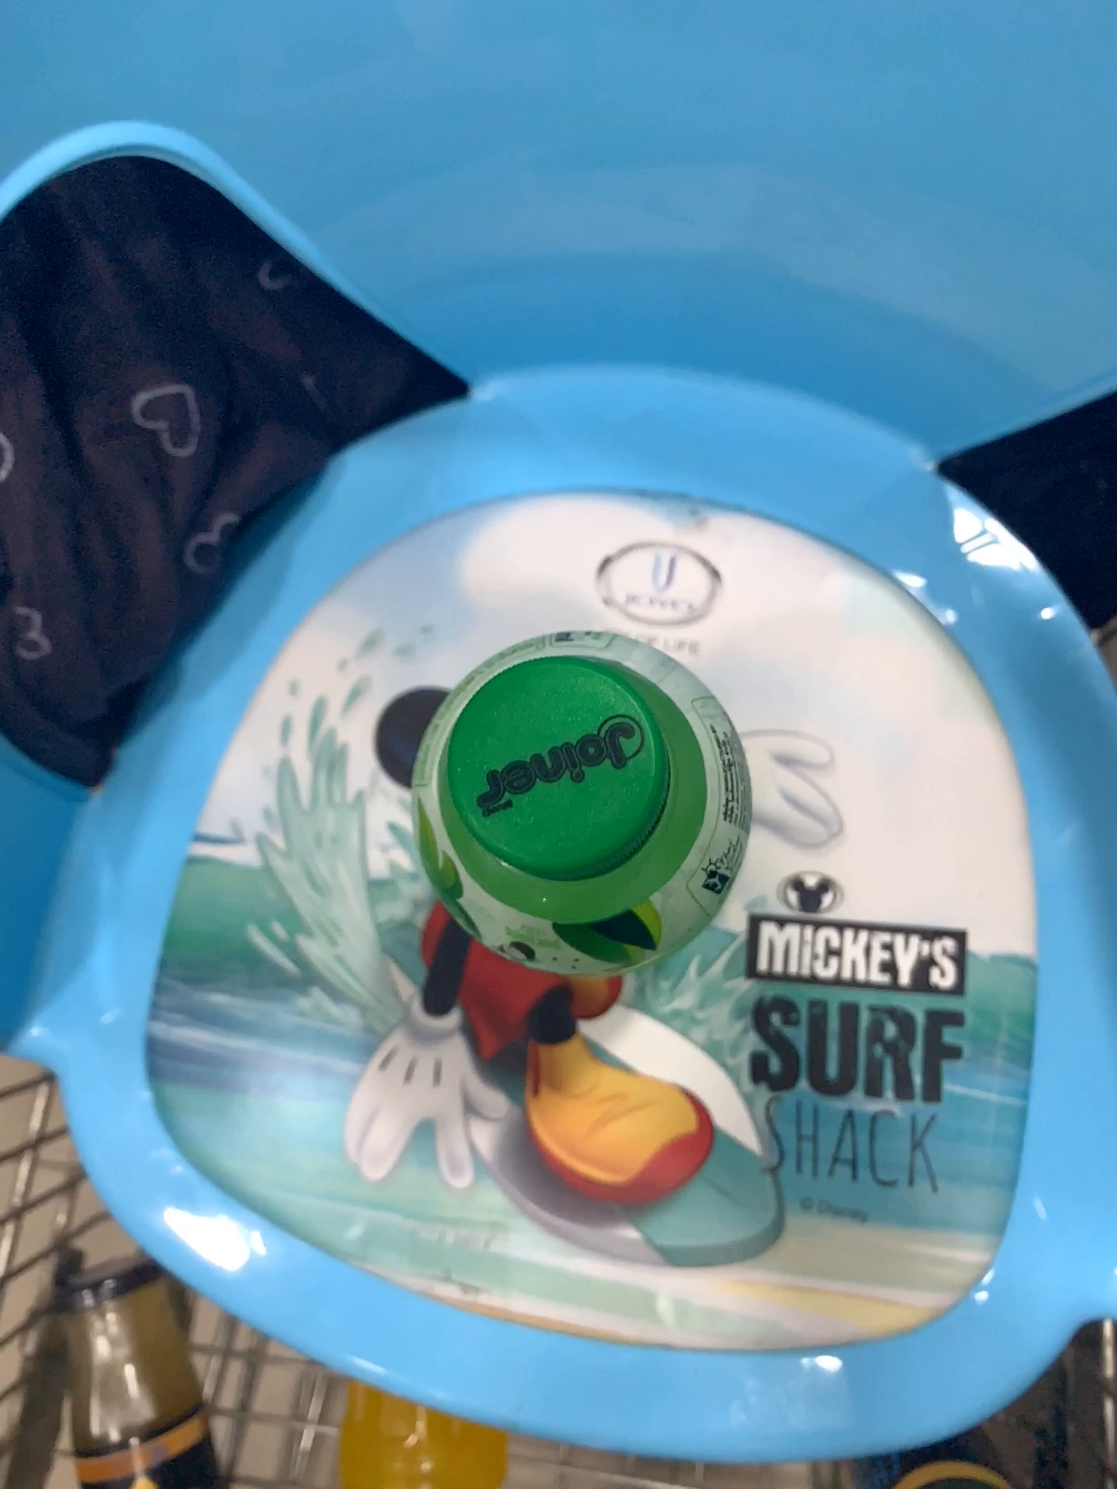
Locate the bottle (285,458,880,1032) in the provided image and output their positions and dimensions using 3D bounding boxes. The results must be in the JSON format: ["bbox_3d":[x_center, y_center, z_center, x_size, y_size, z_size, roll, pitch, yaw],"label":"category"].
[{"bbox_3d":[0.009,0.014,0.210,0.060,0.140,0.060,-1,76,5],"label":"bottle"}]
